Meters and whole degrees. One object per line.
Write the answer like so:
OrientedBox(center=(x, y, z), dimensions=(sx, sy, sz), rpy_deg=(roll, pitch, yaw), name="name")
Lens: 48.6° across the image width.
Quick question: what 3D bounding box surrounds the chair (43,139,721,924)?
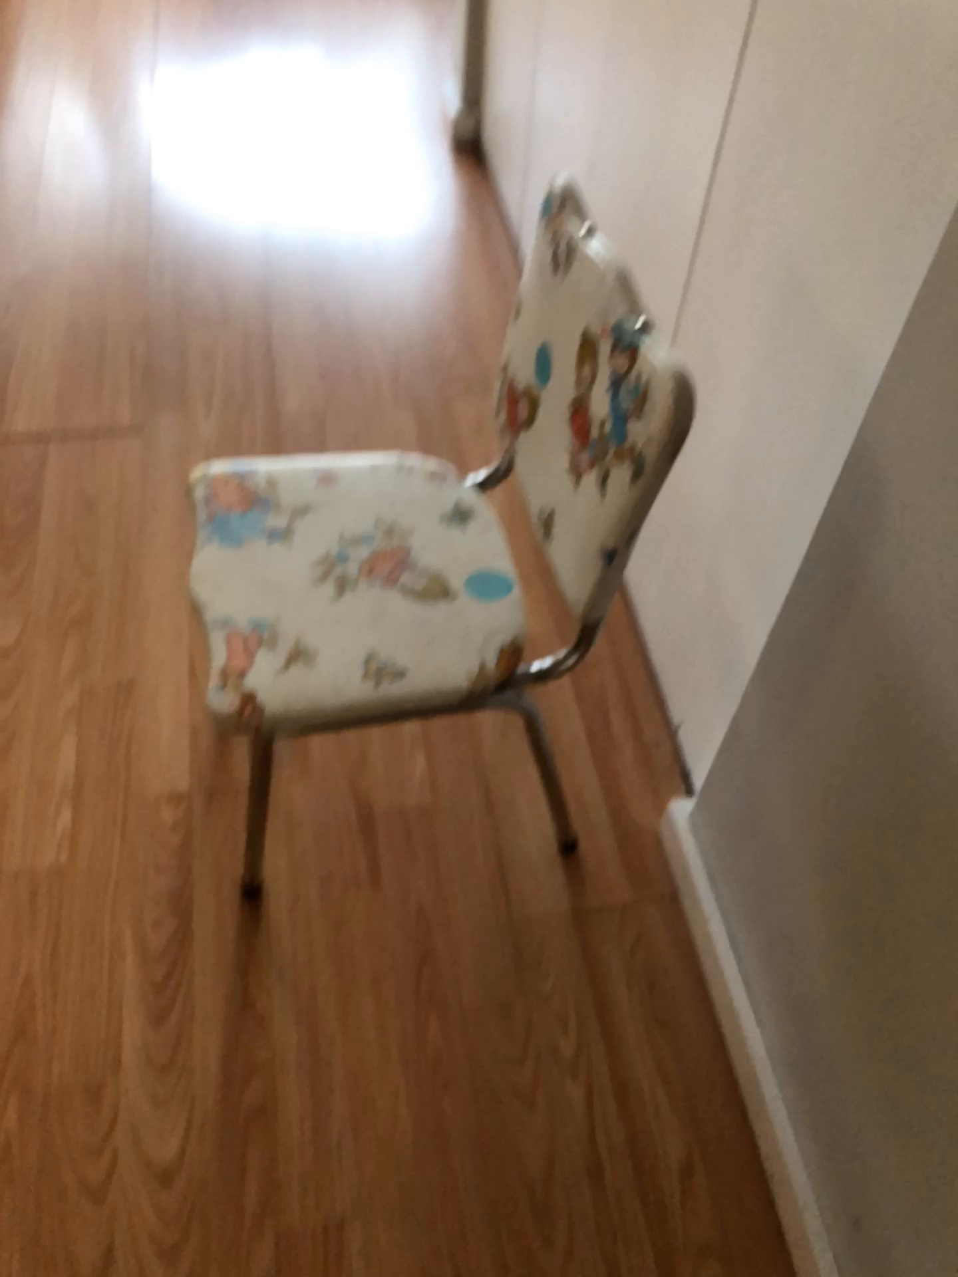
OrientedBox(center=(-0.098, -0.065, 0.928), dimensions=(0.390, 0.558, 0.351), rpy_deg=(-8, 52, -10), name="chair")
